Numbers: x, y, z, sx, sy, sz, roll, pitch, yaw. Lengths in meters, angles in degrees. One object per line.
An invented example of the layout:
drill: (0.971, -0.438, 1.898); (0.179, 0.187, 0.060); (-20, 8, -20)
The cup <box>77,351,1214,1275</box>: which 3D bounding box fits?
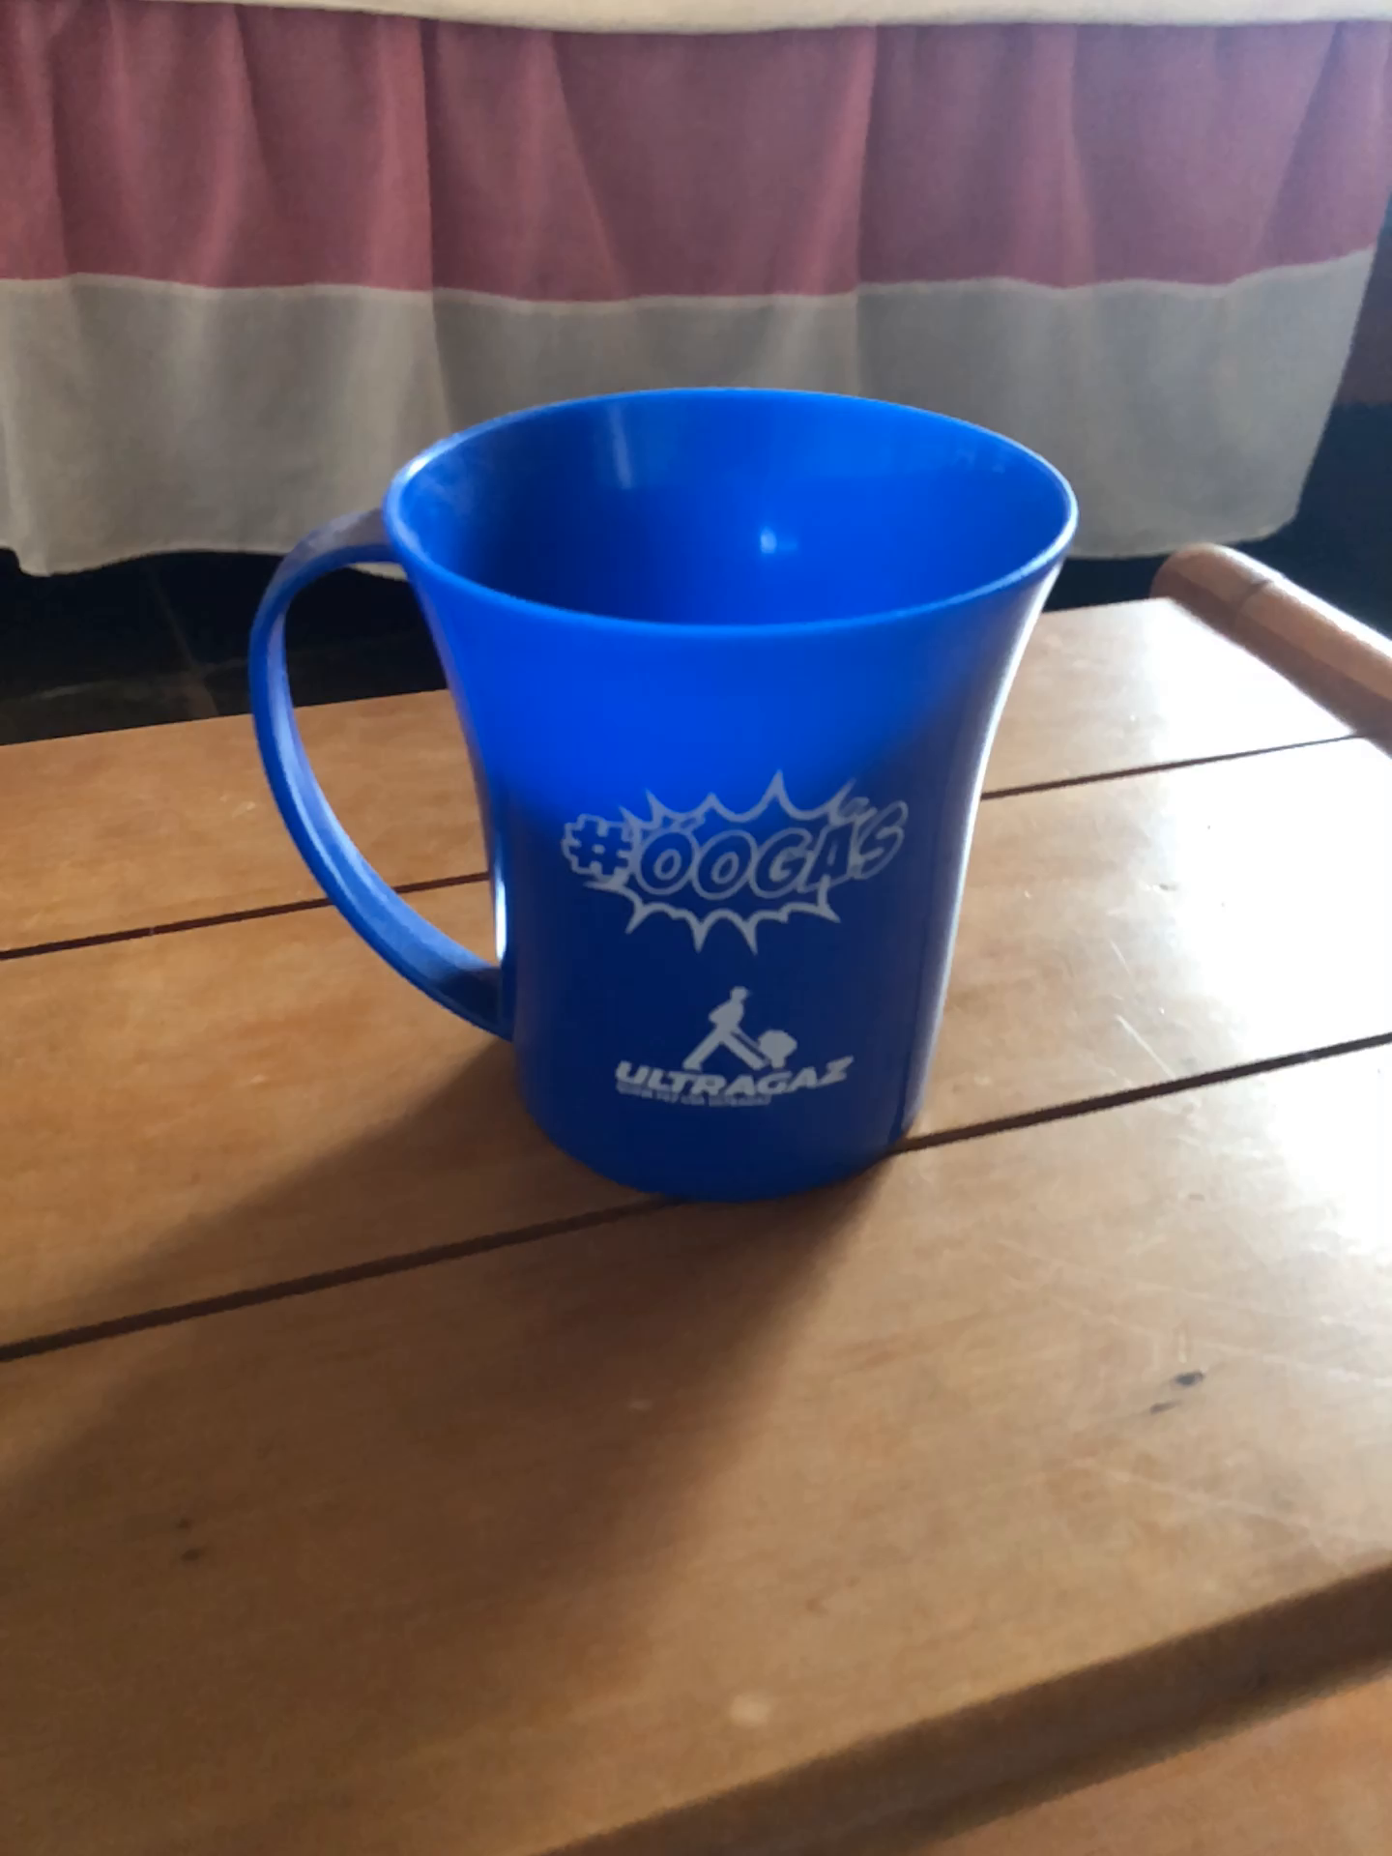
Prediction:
cup: (-0.007, -0.022, 0.232); (0.120, 0.099, 0.101); (-1, 35, -3)
